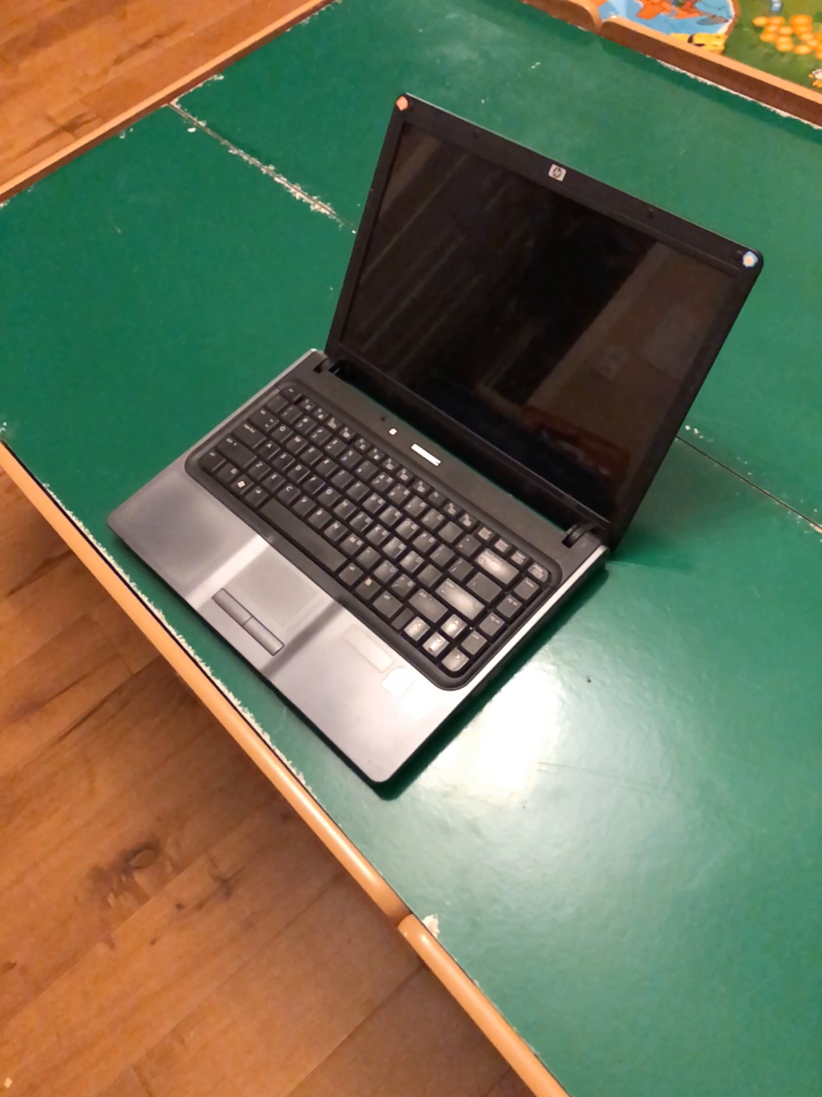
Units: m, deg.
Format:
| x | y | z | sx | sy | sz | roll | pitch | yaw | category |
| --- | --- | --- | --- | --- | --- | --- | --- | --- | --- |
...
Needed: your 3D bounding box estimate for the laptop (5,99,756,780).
| x | y | z | sx | sy | sz | roll | pitch | yaw | category |
| --- | --- | --- | --- | --- | --- | --- | --- | --- | --- |
| -0.016 | -0.101 | 0.655 | 0.374 | 0.172 | 0.324 | -43 | 61 | -17 | laptop |
